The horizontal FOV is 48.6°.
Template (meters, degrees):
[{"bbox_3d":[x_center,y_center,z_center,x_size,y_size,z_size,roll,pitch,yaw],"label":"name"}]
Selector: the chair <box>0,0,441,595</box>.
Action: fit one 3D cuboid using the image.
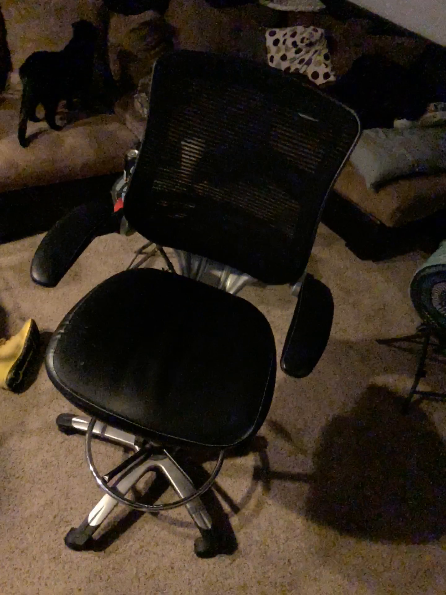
[{"bbox_3d":[-0.088,0.066,1.312,0.760,1.170,0.930,20,44,5],"label":"chair"}]
